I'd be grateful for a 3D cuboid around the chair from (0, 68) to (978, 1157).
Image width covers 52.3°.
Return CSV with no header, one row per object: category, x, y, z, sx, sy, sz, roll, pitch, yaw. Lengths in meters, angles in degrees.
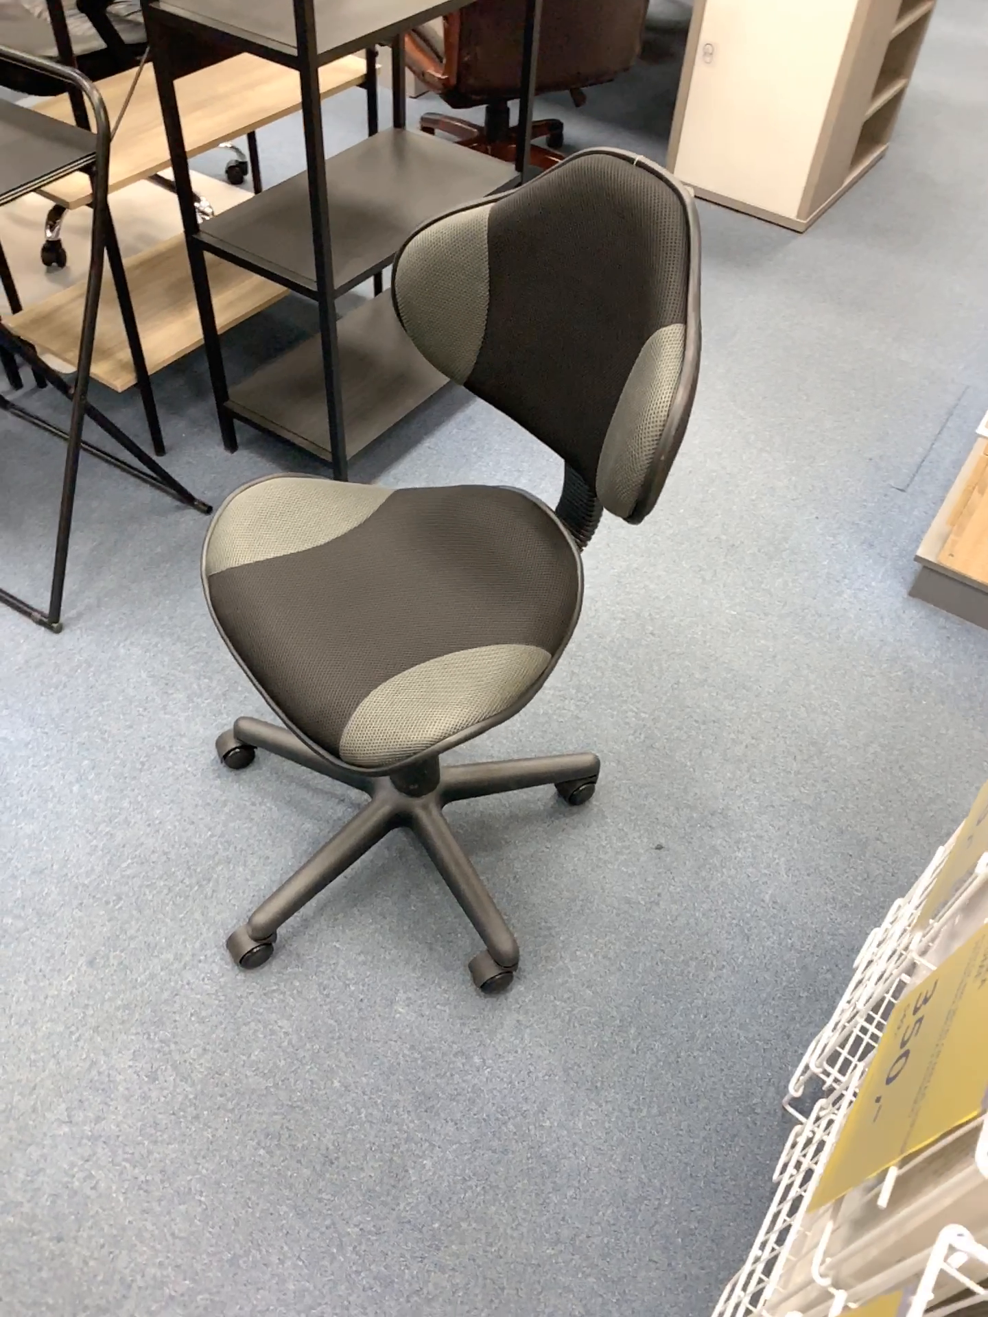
chair,-0.086,-0.032,1.194,0.691,0.917,0.632,-29,57,-26
